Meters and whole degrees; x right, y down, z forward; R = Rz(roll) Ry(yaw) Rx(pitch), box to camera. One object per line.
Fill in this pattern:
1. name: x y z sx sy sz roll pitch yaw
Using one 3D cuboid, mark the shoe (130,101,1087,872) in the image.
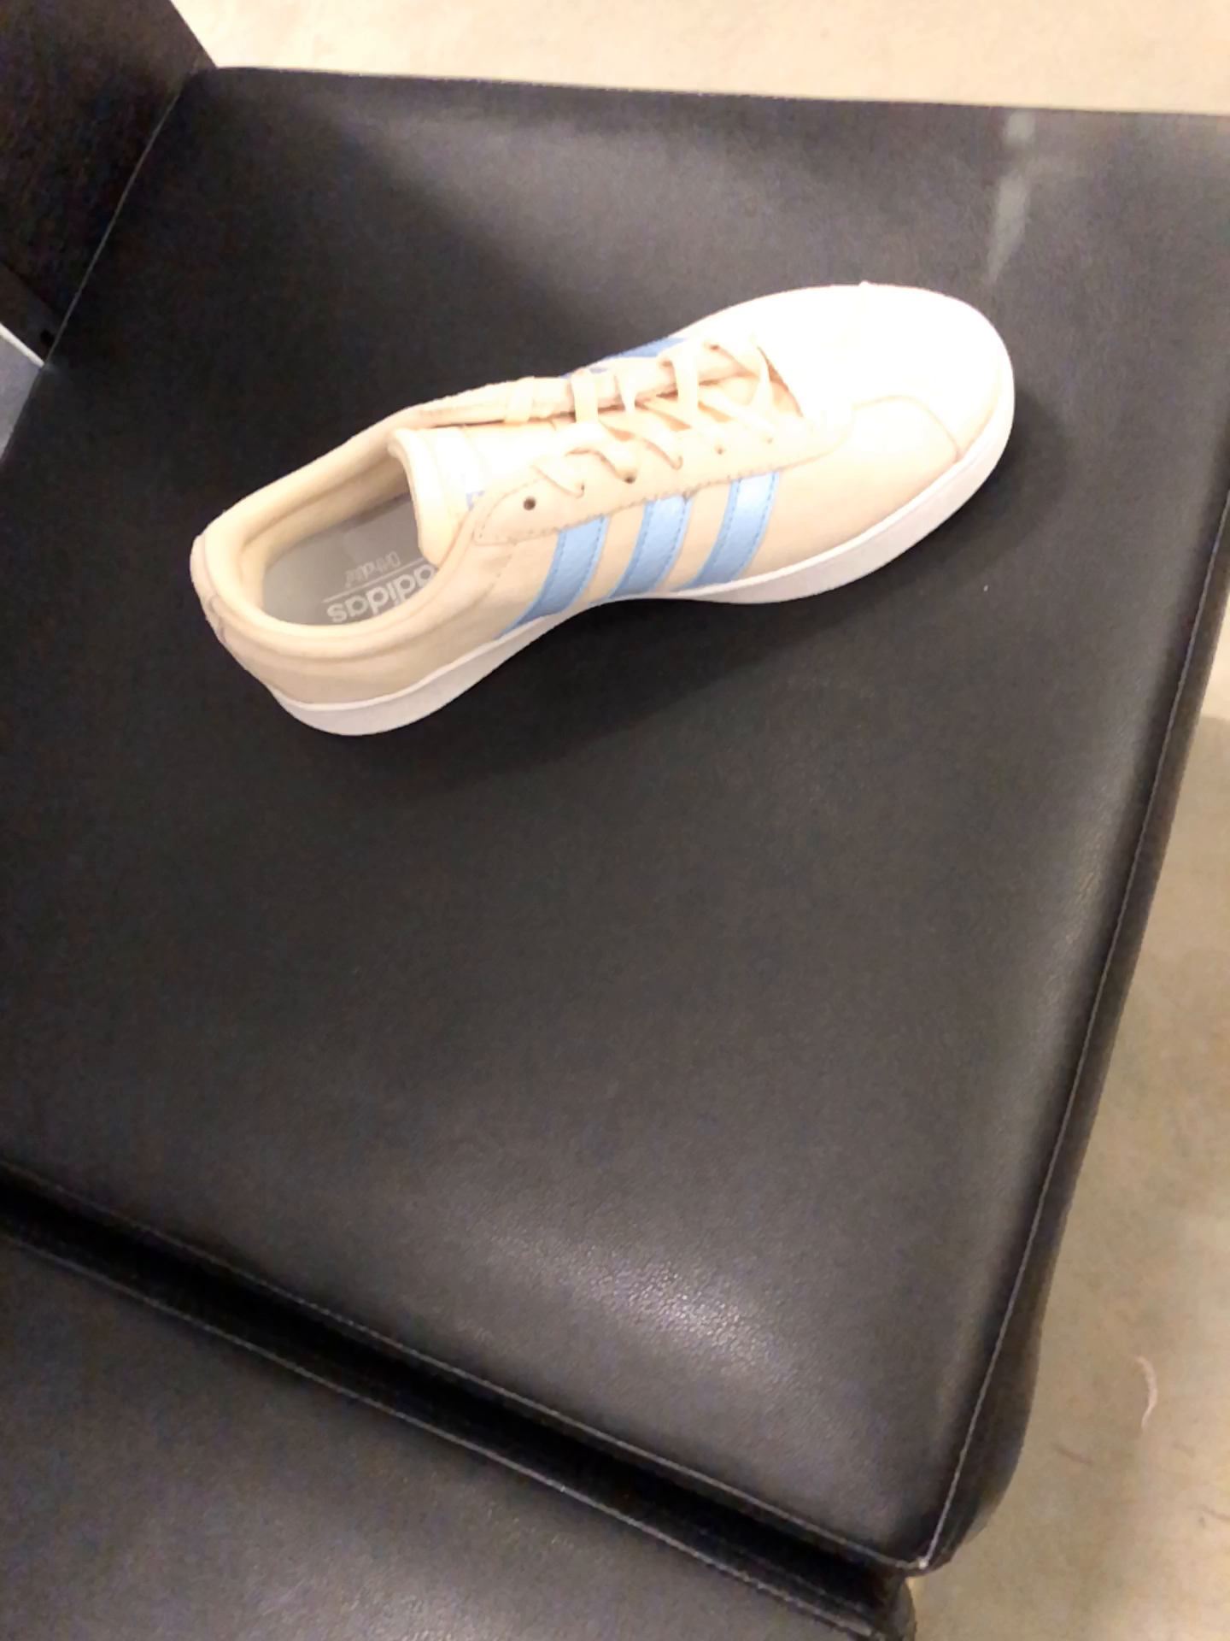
1. shoe: -0.003 -0.091 0.422 0.260 0.090 0.100 -24 68 9
